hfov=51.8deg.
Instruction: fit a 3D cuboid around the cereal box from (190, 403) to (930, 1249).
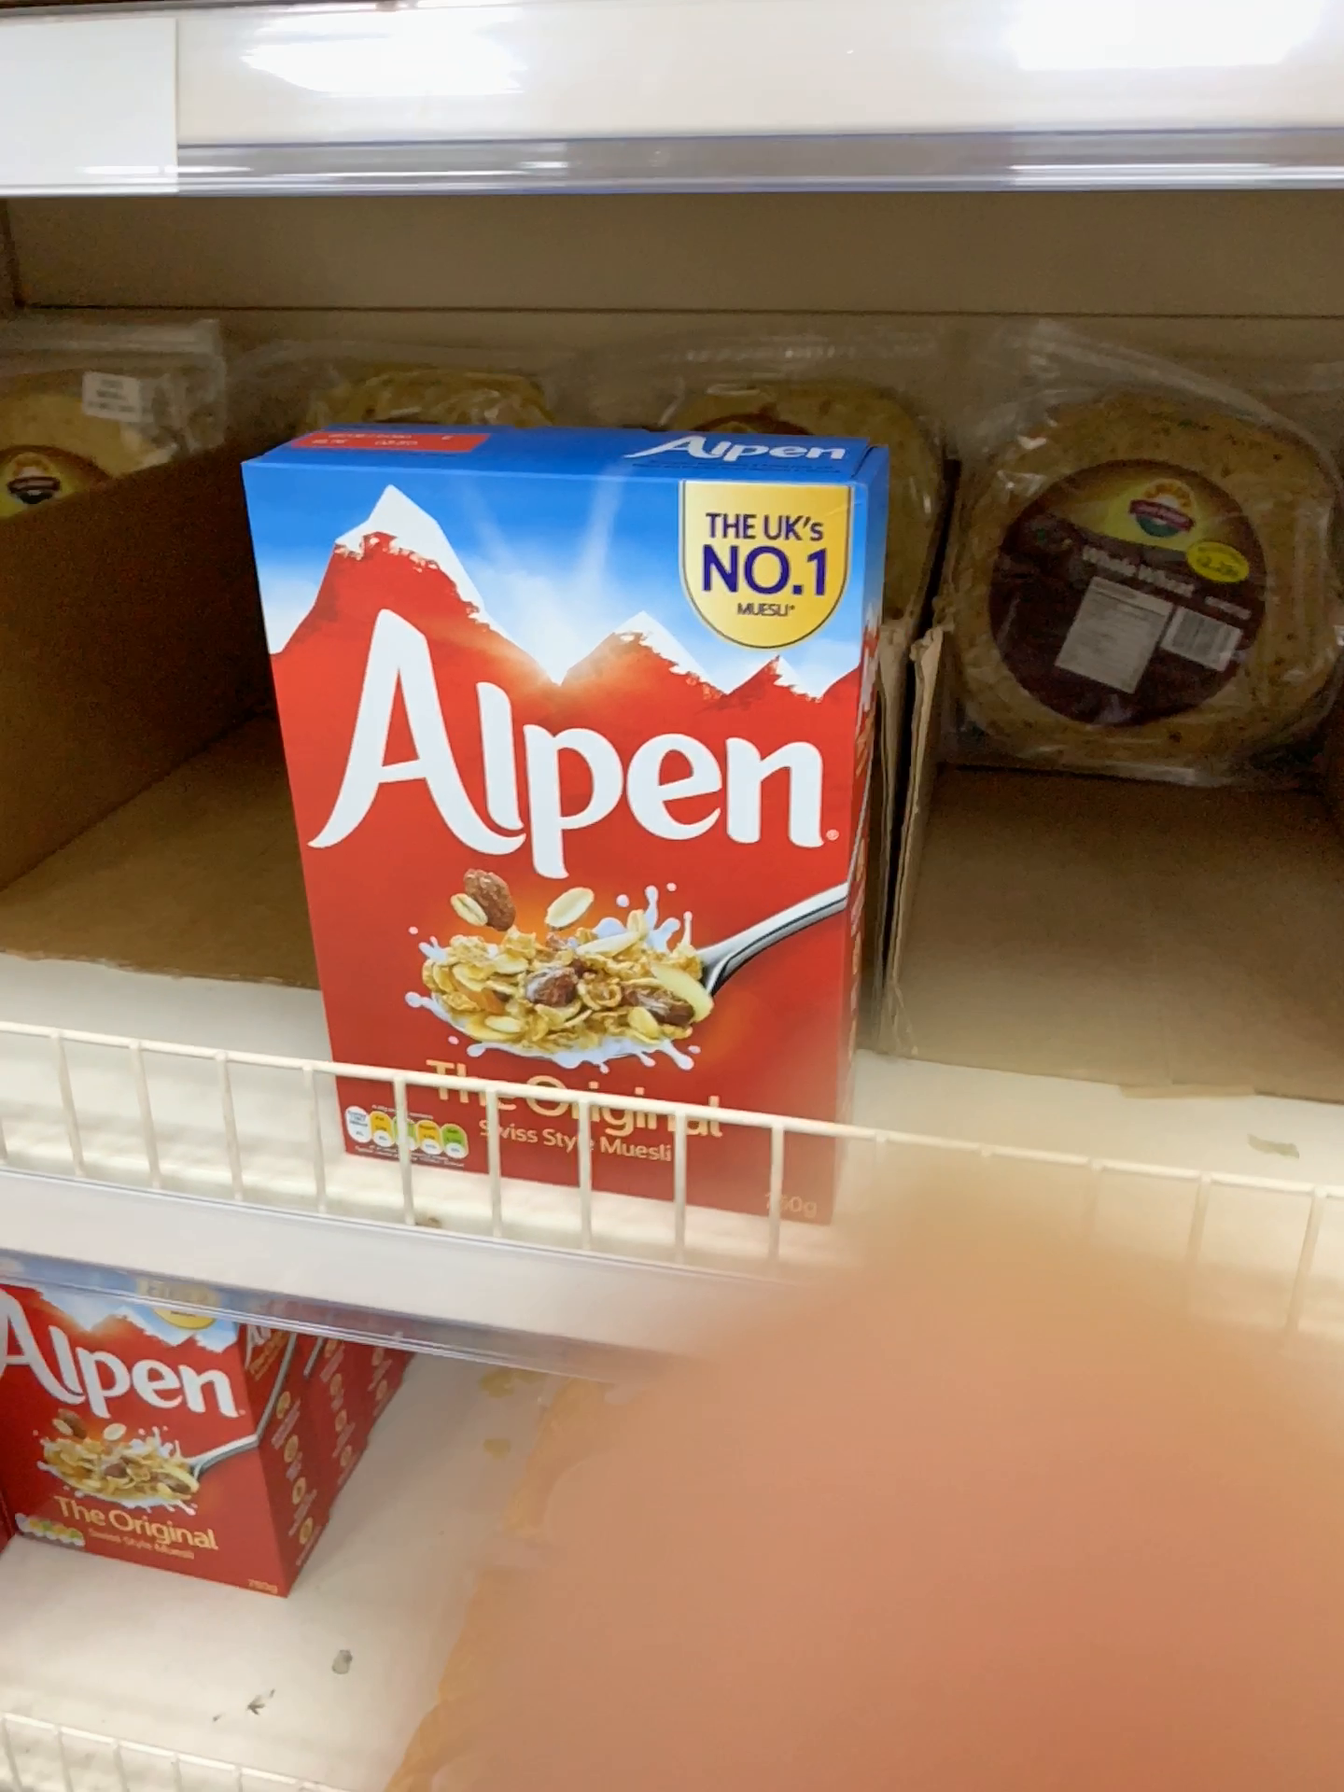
[{"bbox_3d":[-0.026,-0.021,0.430,0.190,0.238,0.071,5,26,11],"label":"cereal box"}]
